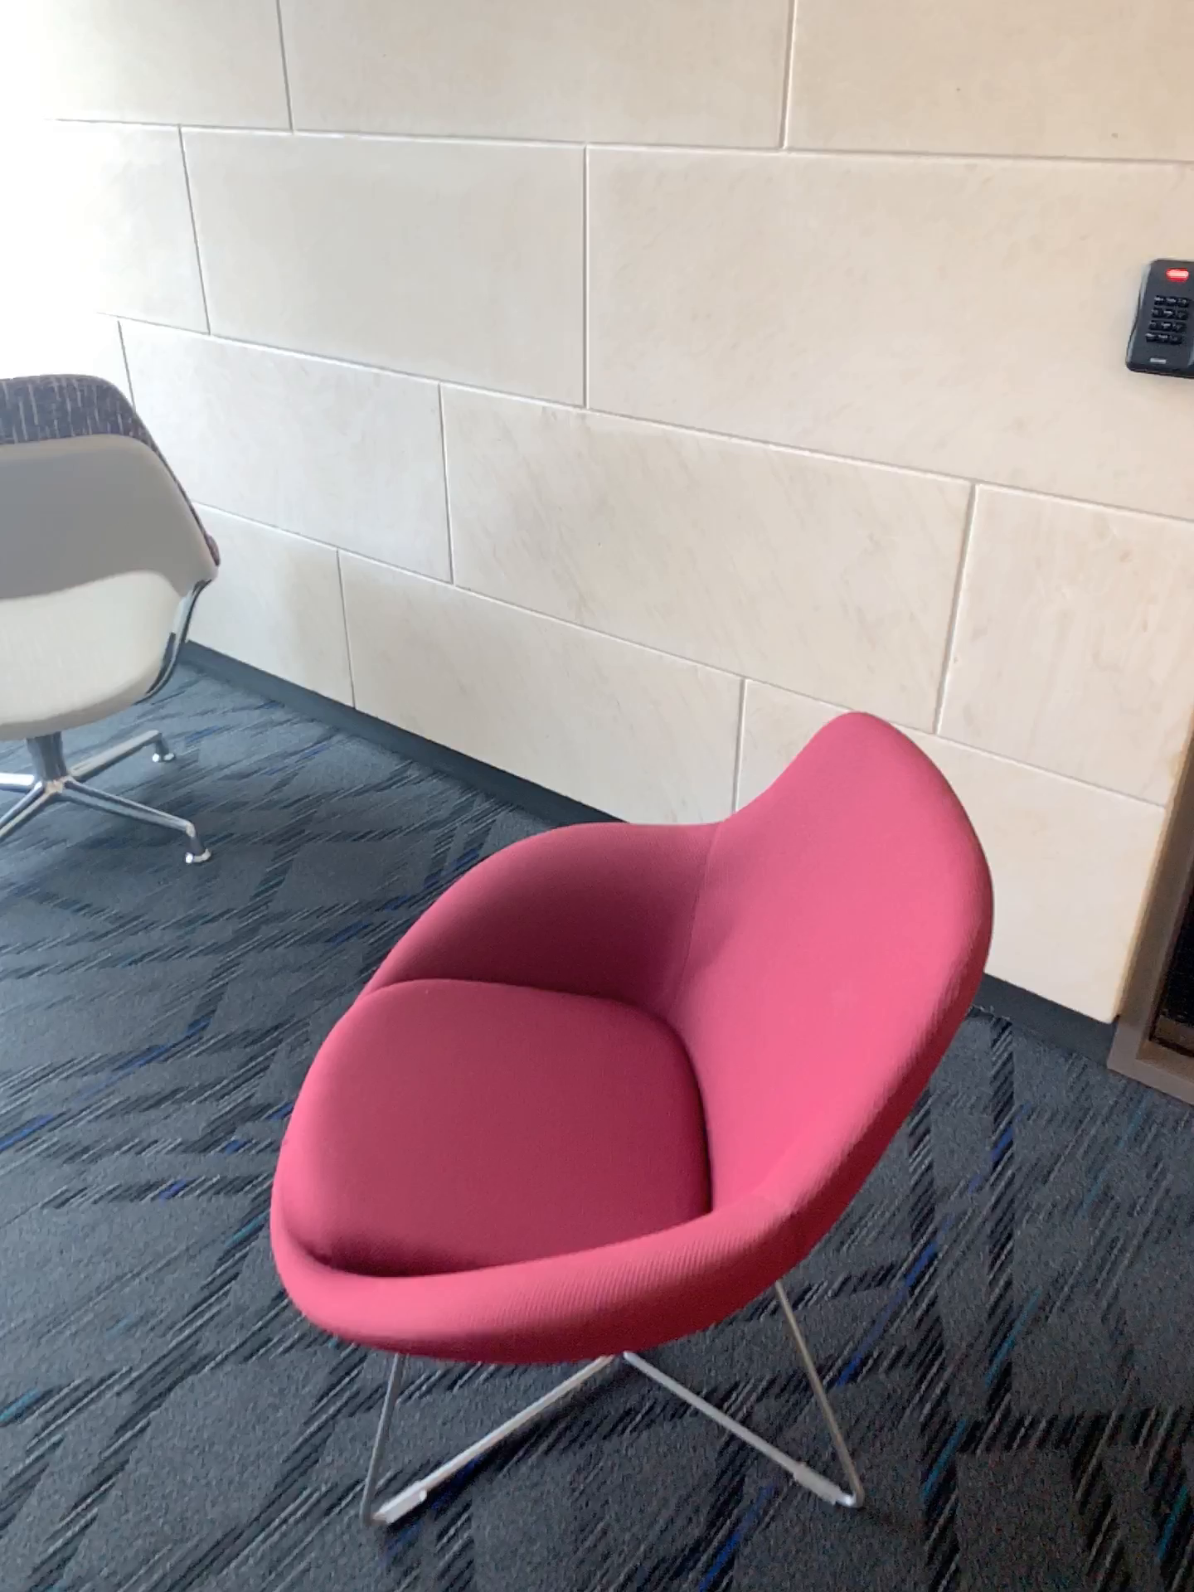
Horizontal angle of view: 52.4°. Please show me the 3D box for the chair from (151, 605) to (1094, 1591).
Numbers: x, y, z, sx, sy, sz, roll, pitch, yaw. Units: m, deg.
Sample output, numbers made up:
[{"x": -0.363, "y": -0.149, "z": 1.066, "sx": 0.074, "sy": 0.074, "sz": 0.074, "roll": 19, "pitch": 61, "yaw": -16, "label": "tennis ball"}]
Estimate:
[{"x": 0.023, "y": 0.289, "z": 1.270, "sx": 0.610, "sy": 0.754, "sz": 0.696, "roll": 1, "pitch": 29, "yaw": 2, "label": "chair"}]
